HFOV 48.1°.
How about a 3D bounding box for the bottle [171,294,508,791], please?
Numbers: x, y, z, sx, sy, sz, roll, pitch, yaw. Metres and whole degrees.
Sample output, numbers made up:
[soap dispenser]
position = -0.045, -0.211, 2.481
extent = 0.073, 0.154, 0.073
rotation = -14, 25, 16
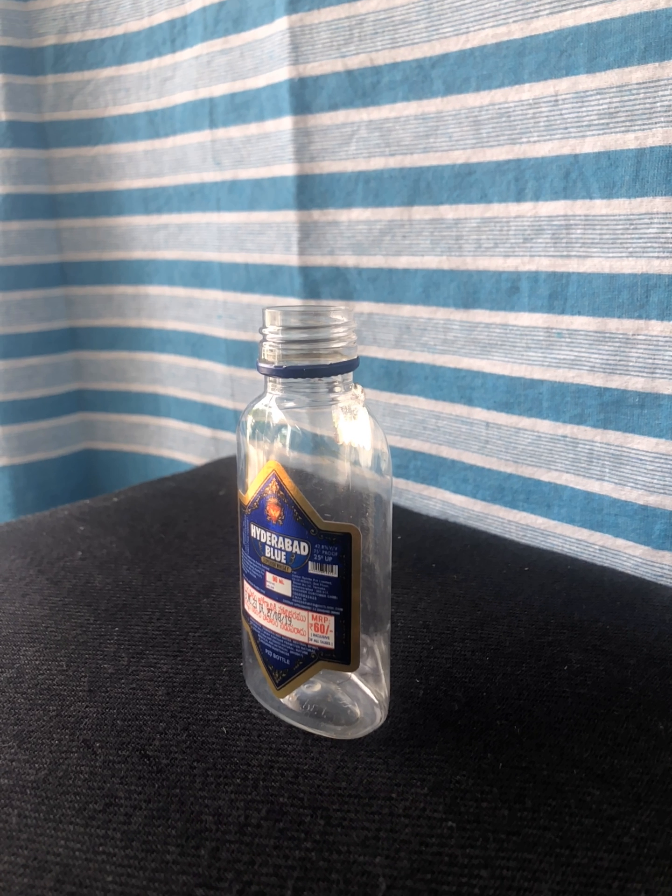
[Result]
[bottle]
position = 0.001, 0.016, 0.189
extent = 0.060, 0.100, 0.050
rotation = 15, 24, 42
